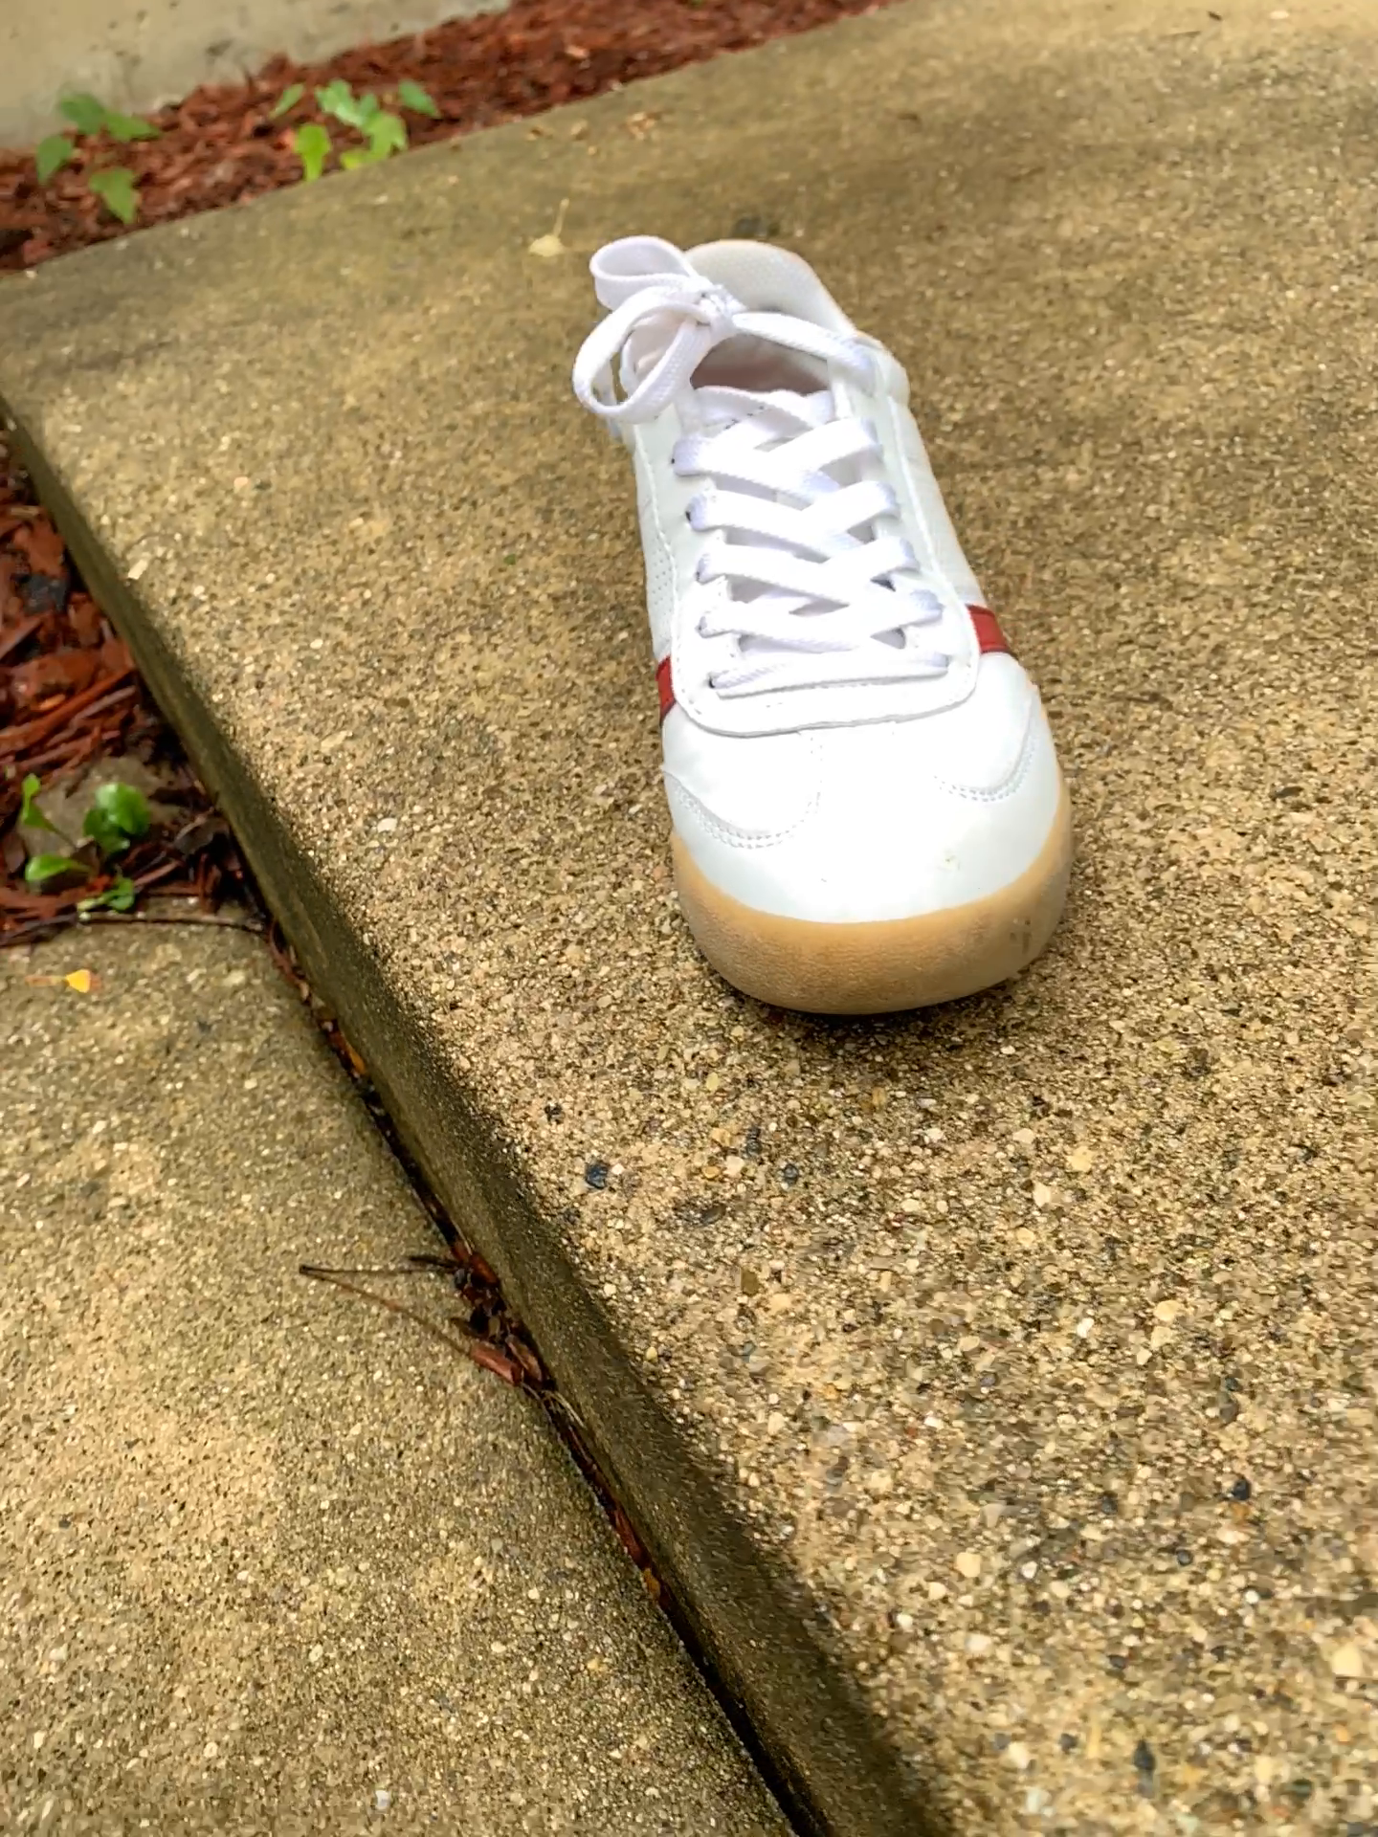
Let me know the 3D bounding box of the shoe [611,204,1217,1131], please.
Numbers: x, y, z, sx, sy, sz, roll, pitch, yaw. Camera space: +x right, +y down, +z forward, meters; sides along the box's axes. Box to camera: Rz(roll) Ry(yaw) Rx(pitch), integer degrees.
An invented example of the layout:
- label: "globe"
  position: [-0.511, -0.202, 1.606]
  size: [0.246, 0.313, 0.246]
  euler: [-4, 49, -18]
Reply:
- label: "shoe"
  position: [0.037, -0.086, 0.364]
  size: [0.098, 0.092, 0.271]
  euler: [-8, 42, 3]
